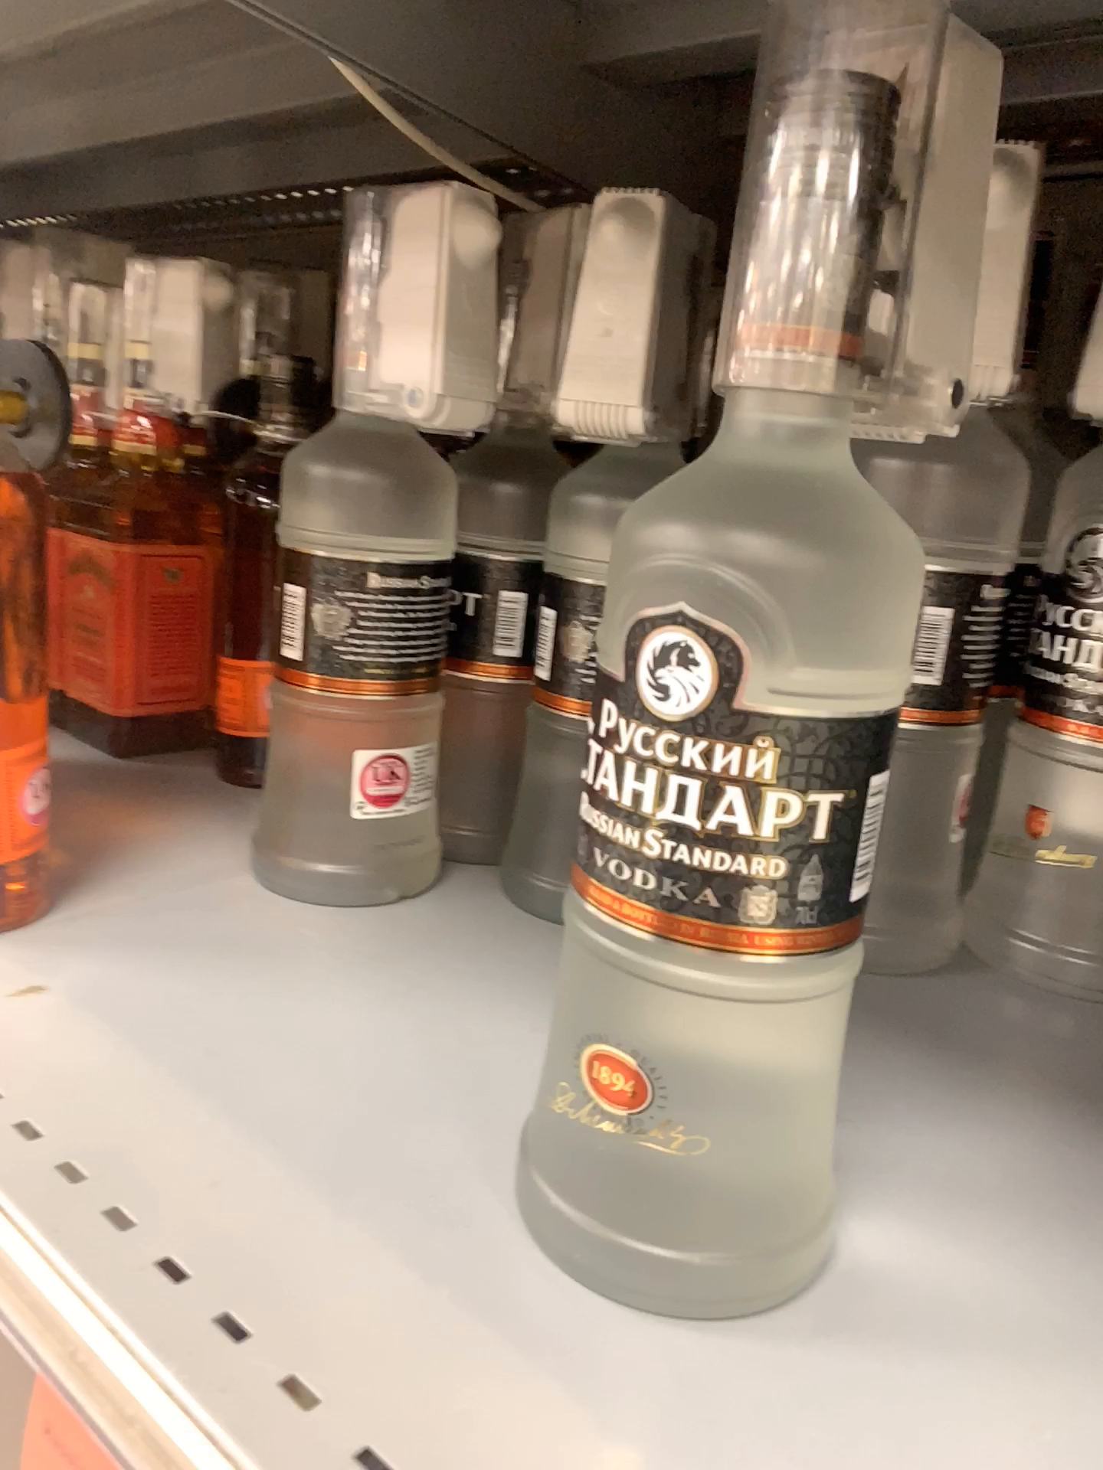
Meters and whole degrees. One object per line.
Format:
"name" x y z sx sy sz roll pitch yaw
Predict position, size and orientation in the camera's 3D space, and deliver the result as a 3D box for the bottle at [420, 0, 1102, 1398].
"bottle" 0.043 -0.013 0.275 0.092 0.289 0.088 6 12 -1
